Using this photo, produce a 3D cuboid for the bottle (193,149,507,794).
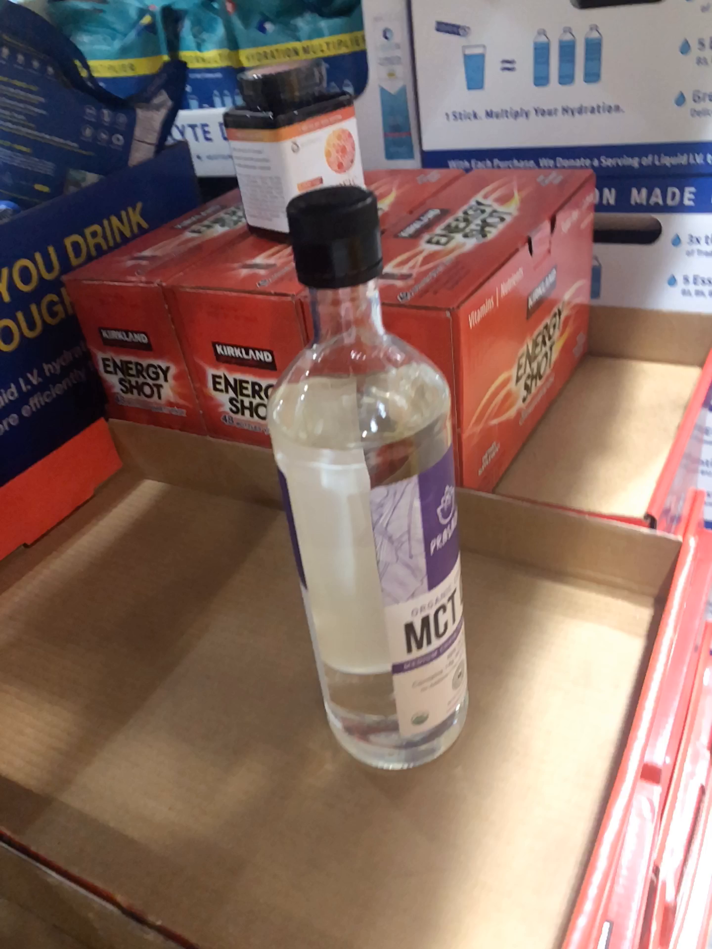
[{"bbox_3d":[0.015,0.014,0.361,0.080,0.290,0.078,-6,34,4],"label":"bottle"}]
